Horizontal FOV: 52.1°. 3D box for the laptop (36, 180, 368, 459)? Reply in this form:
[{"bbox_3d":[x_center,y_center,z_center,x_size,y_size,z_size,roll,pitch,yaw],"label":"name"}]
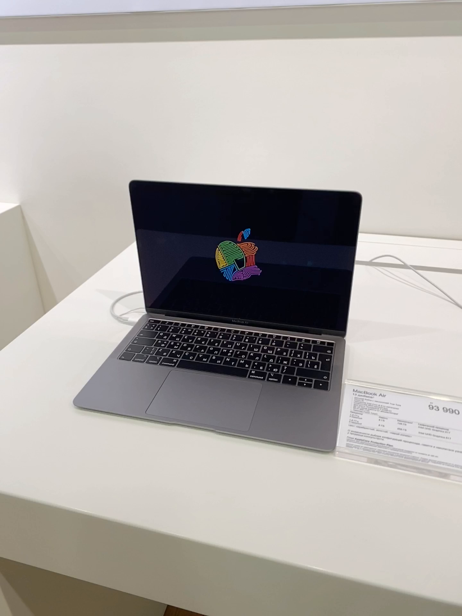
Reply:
[{"bbox_3d":[-0.009,-0.012,0.555,0.302,0.211,0.226,7,29,14],"label":"laptop"}]
